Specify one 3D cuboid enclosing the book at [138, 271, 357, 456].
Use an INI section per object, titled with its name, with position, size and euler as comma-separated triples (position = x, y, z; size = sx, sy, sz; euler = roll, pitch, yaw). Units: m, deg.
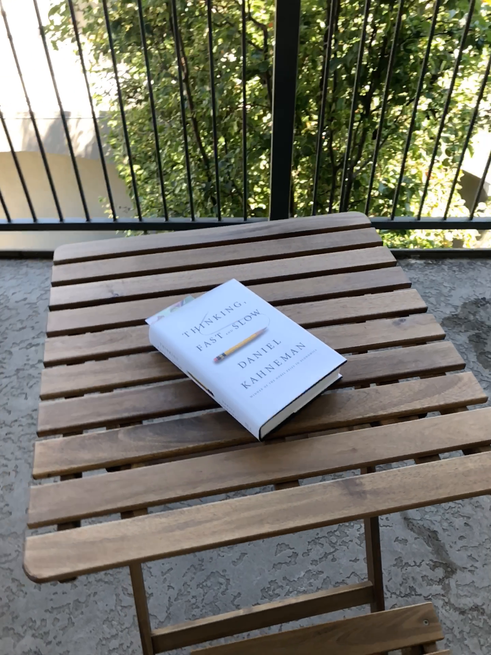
[book]
position = -0.002, 0.036, 0.782
size = 0.180, 0.050, 0.261
euler = -32, 52, -29
